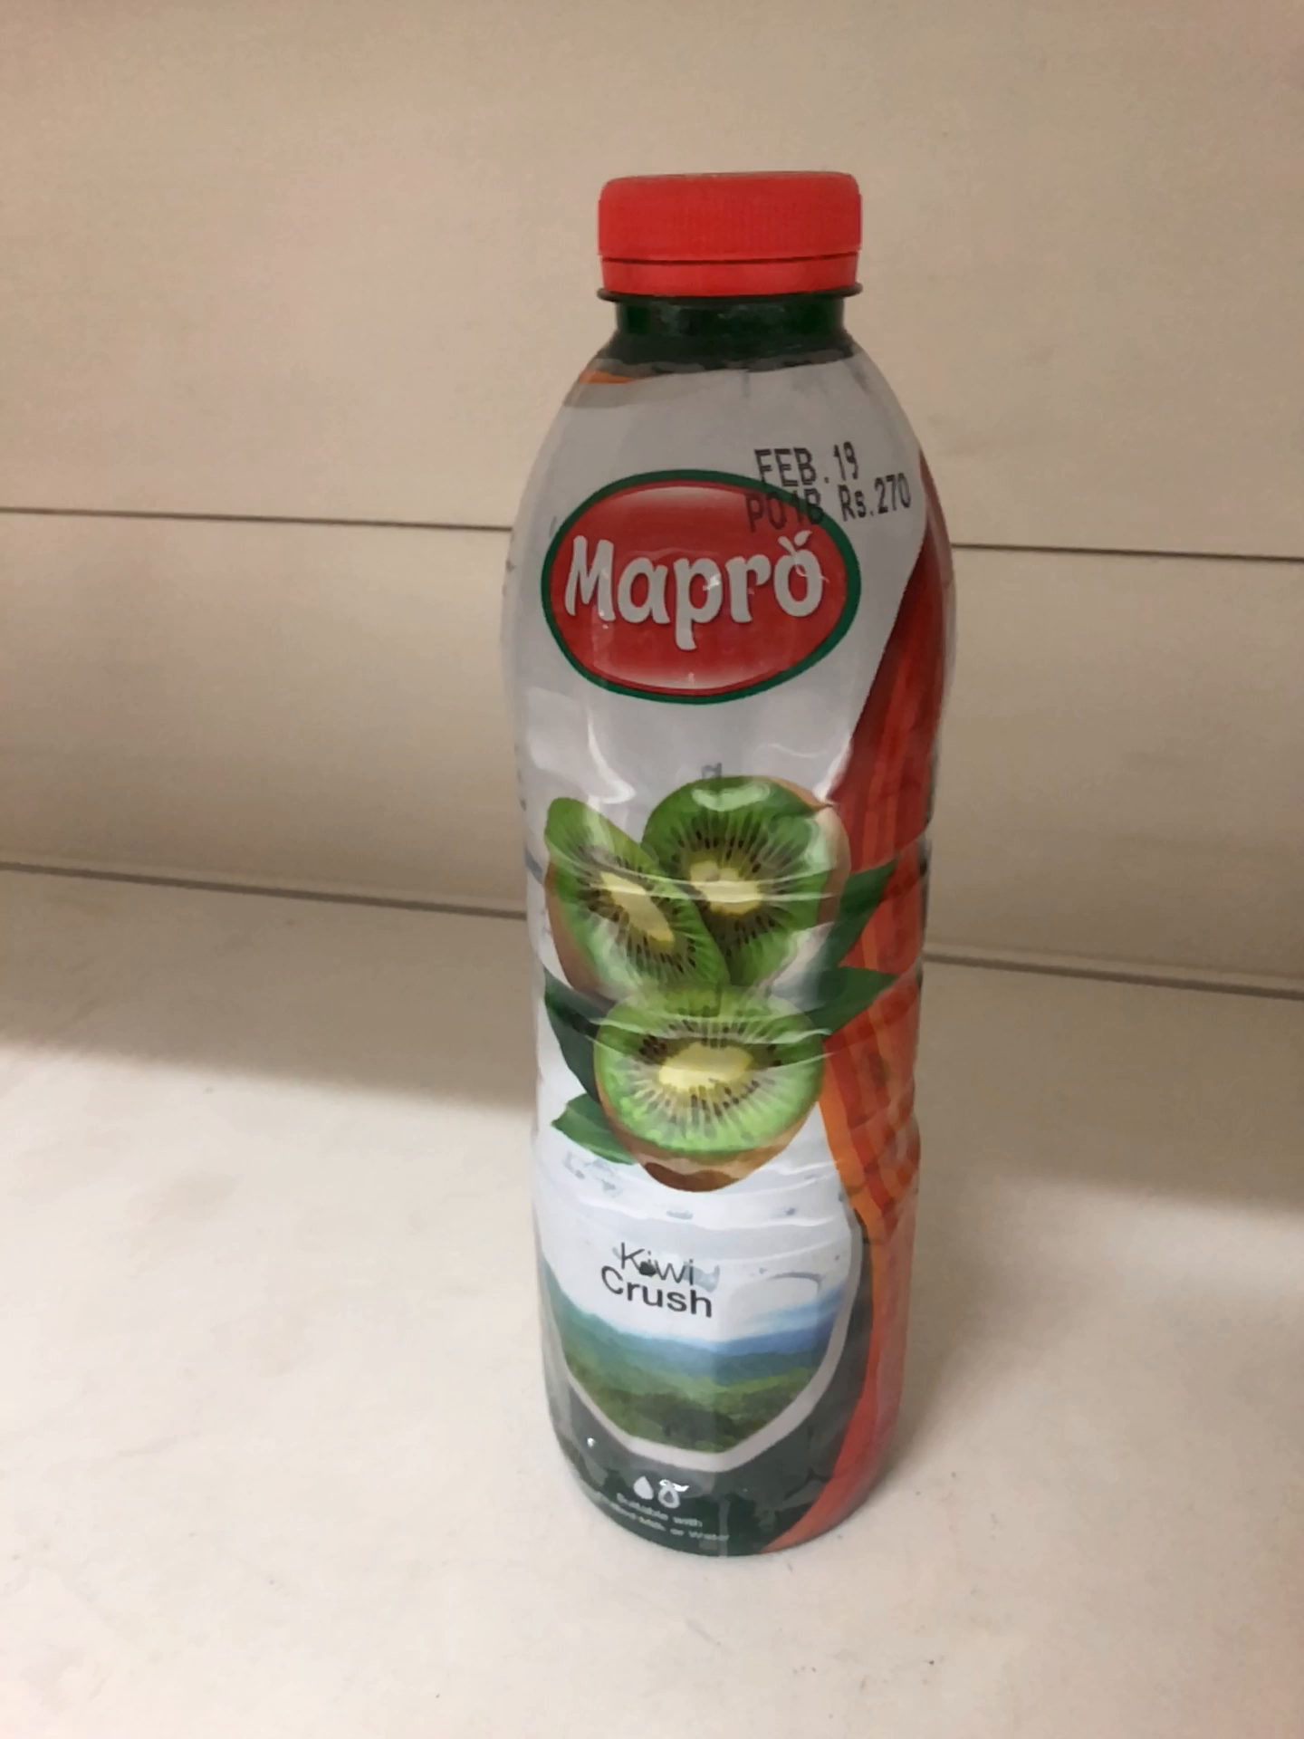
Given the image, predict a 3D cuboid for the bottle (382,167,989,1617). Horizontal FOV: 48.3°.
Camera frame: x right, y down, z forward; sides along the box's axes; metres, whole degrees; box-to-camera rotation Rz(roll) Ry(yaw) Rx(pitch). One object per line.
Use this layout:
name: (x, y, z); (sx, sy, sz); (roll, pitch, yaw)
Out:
bottle: (0.011, 0.012, 0.275); (0.080, 0.258, 0.070); (5, 25, 12)
